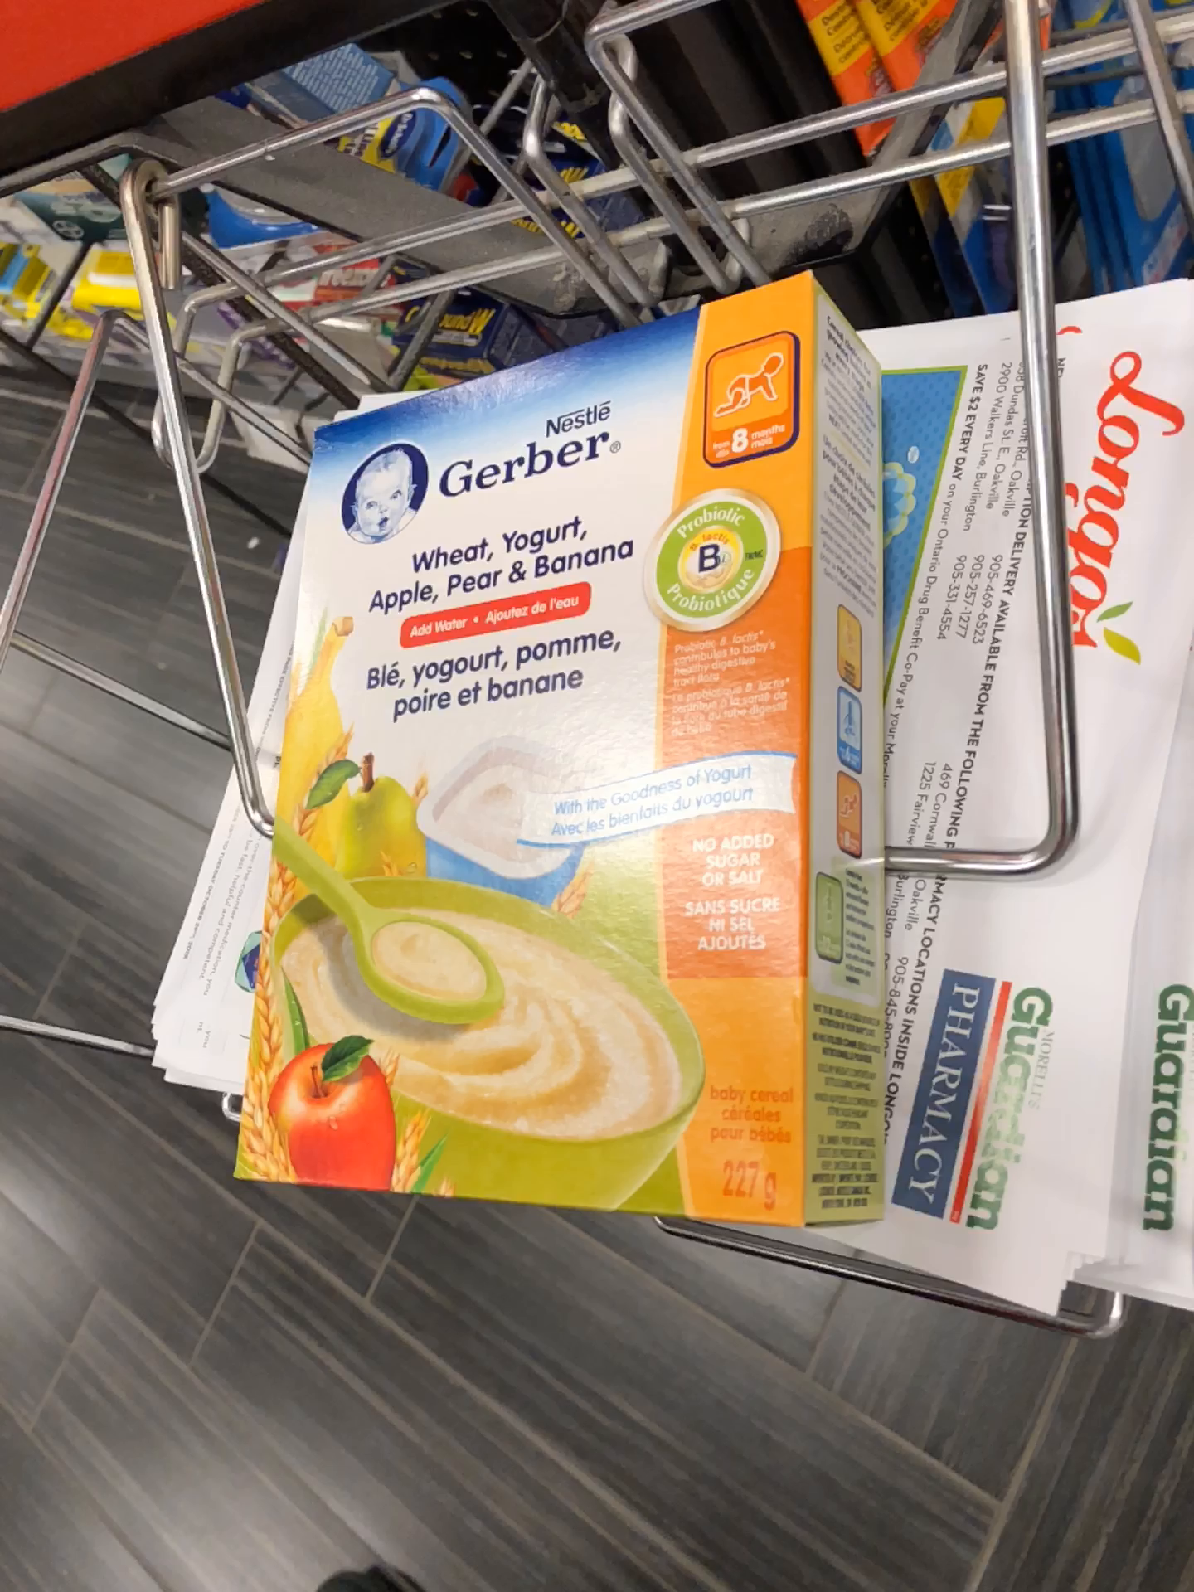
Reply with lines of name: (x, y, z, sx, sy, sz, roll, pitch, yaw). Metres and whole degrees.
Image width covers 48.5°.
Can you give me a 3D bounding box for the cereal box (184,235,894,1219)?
cereal box: (-0.013, -0.009, 0.313, 0.151, 0.050, 0.200, -8, 69, 32)
